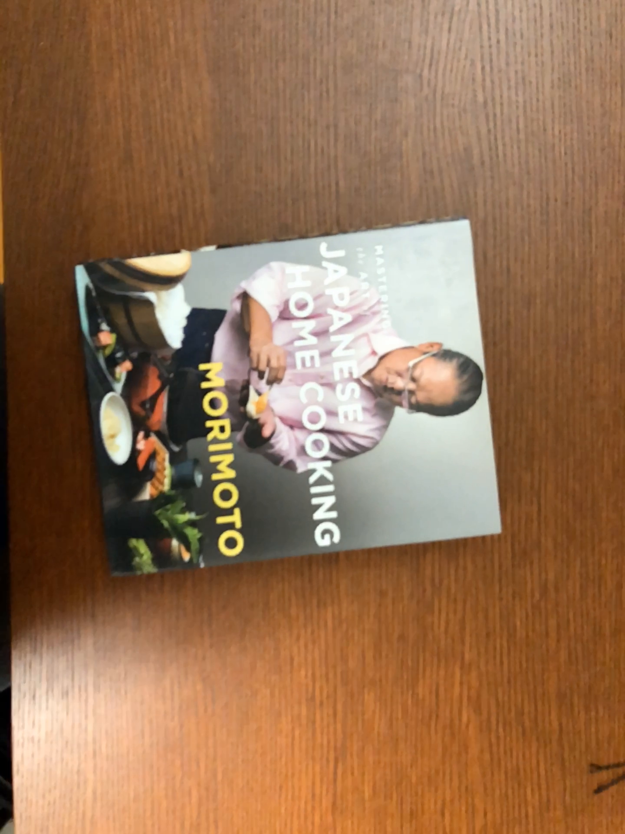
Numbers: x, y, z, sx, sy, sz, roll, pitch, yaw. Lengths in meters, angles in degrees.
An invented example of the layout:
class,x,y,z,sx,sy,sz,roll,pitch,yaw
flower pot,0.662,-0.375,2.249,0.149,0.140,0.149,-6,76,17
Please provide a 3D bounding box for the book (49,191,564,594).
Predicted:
class,x,y,z,sx,sy,sz,roll,pitch,yaw
book,-0.003,-0.015,0.452,0.300,0.030,0.220,-7,92,0
